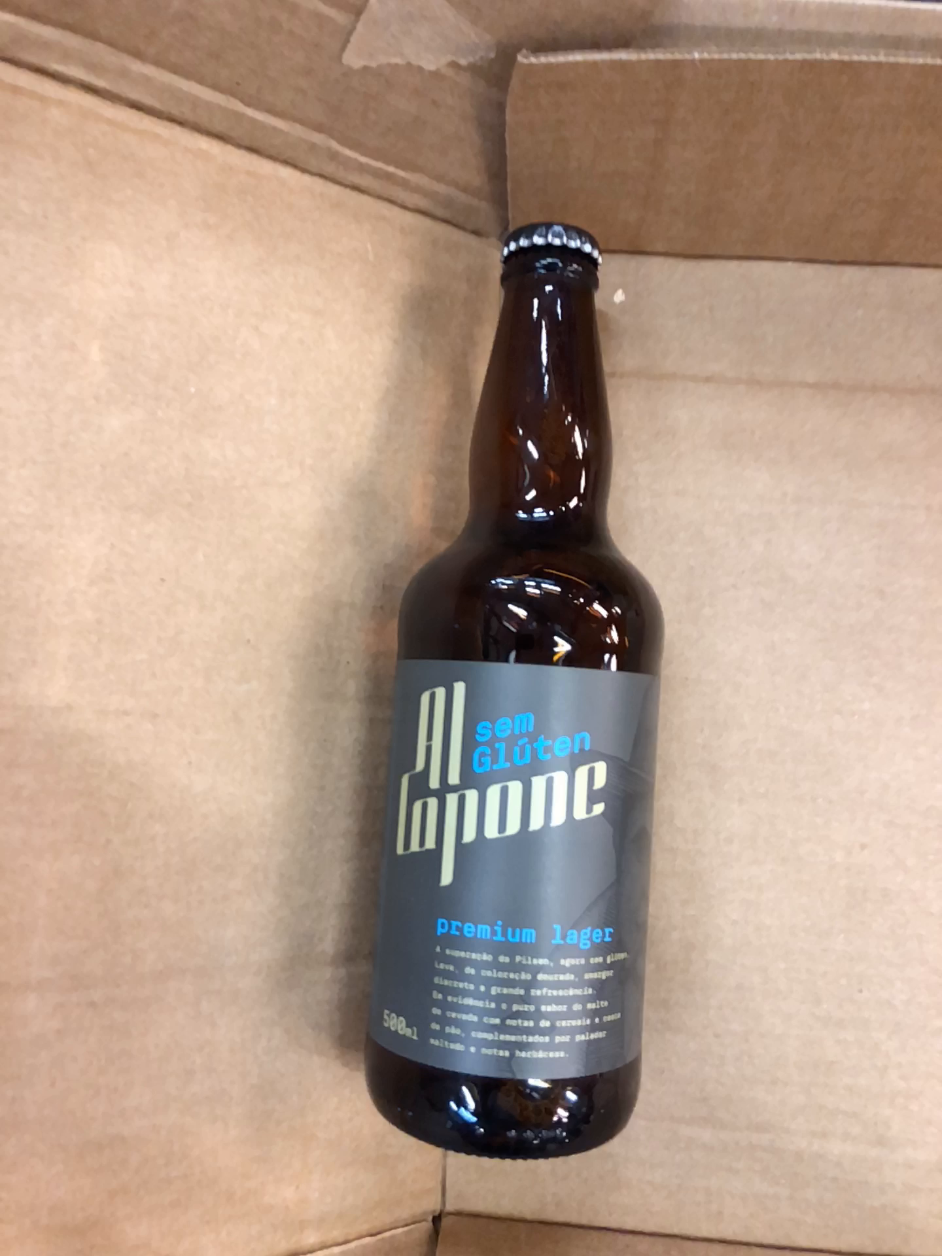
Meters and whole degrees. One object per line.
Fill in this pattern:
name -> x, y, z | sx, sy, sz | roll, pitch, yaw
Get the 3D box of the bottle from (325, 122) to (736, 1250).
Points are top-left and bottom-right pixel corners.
bottle -> 0.013, 0.011, 0.259 | 0.080, 0.060, 0.240 | 4, 83, -11
